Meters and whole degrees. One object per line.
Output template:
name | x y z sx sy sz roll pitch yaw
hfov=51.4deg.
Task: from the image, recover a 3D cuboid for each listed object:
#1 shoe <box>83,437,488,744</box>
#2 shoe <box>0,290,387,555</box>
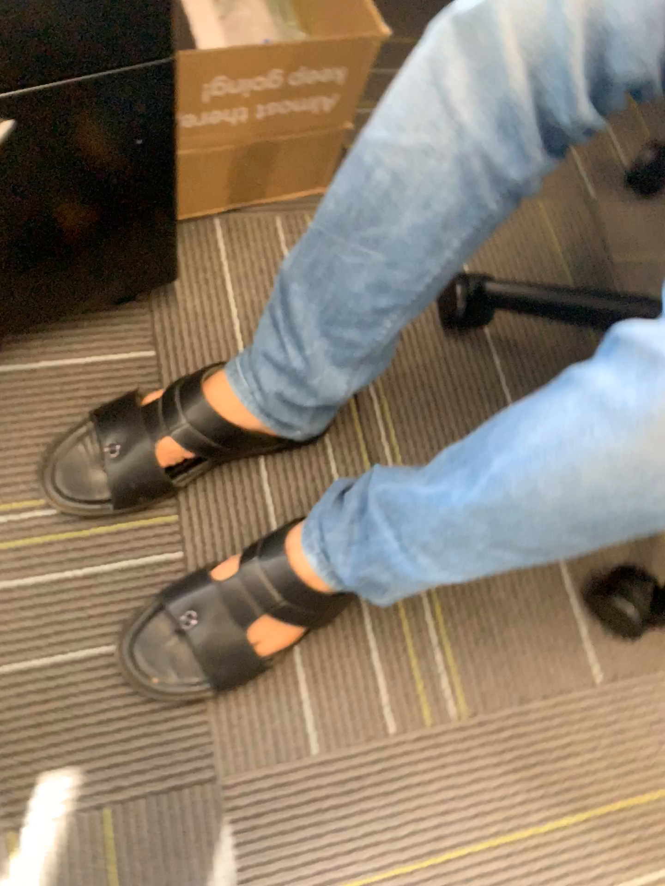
shoe | -0.038 0.128 0.622 0.316 0.116 0.118 -25 75 -19
shoe | -0.125 -0.022 0.662 0.316 0.116 0.118 -22 74 -18
